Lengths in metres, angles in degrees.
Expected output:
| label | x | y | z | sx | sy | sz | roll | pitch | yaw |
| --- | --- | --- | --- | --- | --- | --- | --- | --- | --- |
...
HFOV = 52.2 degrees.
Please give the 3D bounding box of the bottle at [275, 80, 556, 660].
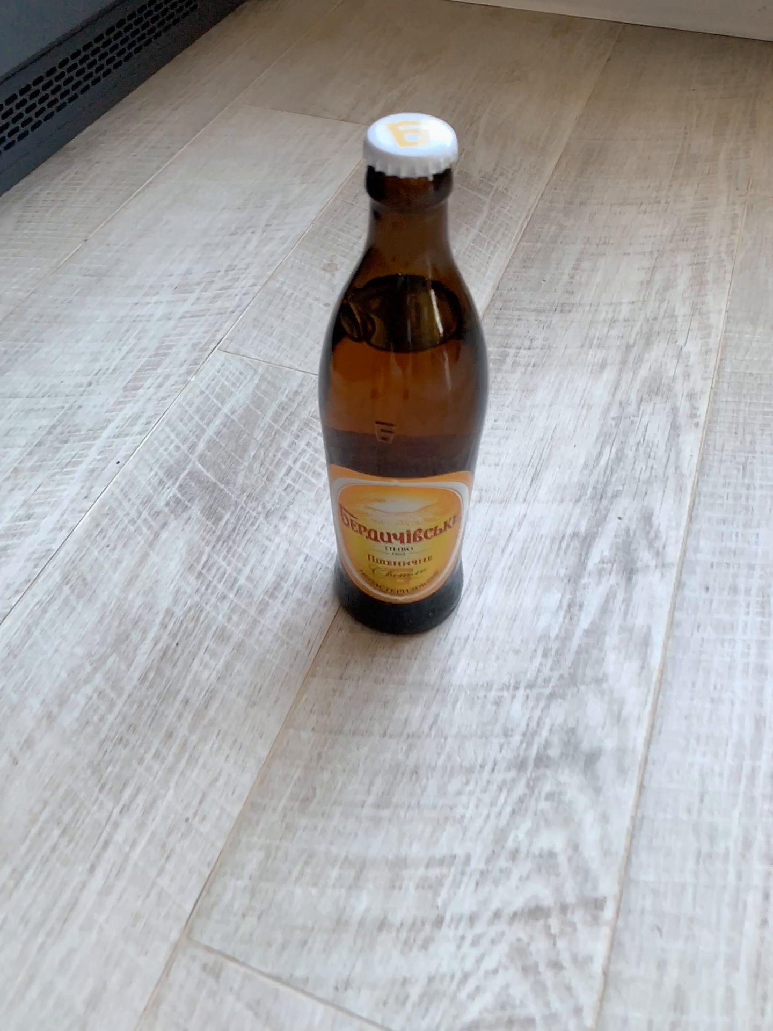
| label | x | y | z | sx | sy | sz | roll | pitch | yaw |
| --- | --- | --- | --- | --- | --- | --- | --- | --- | --- |
| bottle | 0.013 | -0.034 | 0.311 | 0.070 | 0.229 | 0.070 | 0 | 52 | 1 |
